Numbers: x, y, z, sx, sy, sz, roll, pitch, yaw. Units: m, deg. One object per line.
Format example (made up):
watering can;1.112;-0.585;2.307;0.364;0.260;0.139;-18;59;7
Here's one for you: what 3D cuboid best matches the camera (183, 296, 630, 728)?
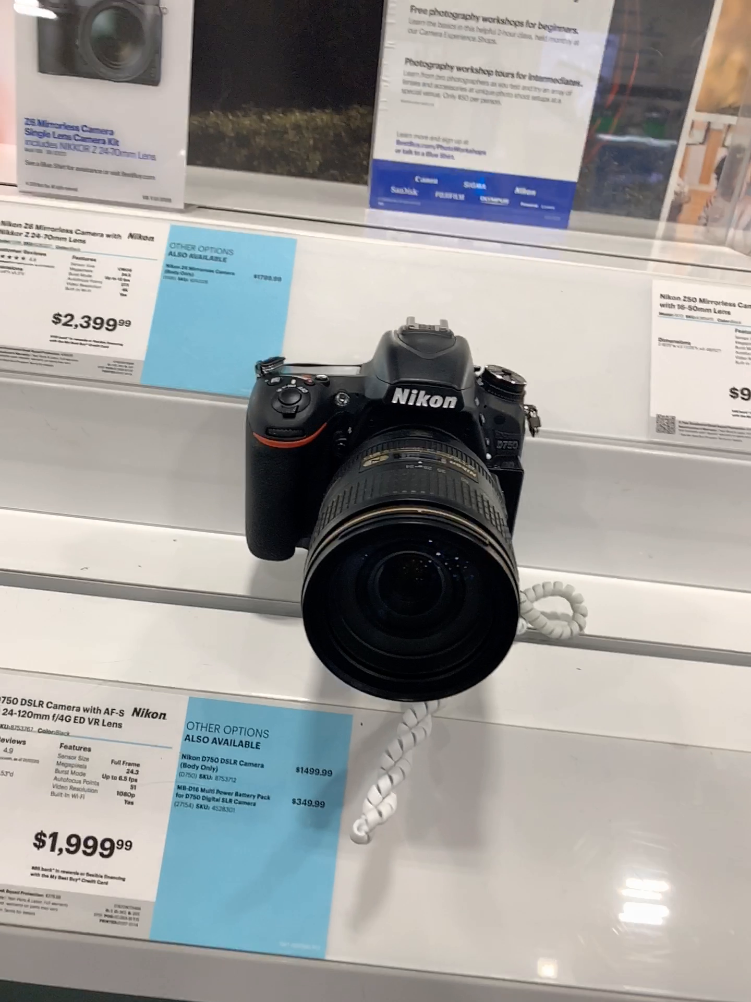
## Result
camera;0.003;-0.009;0.346;0.140;0.111;0.181;4;28;-4
